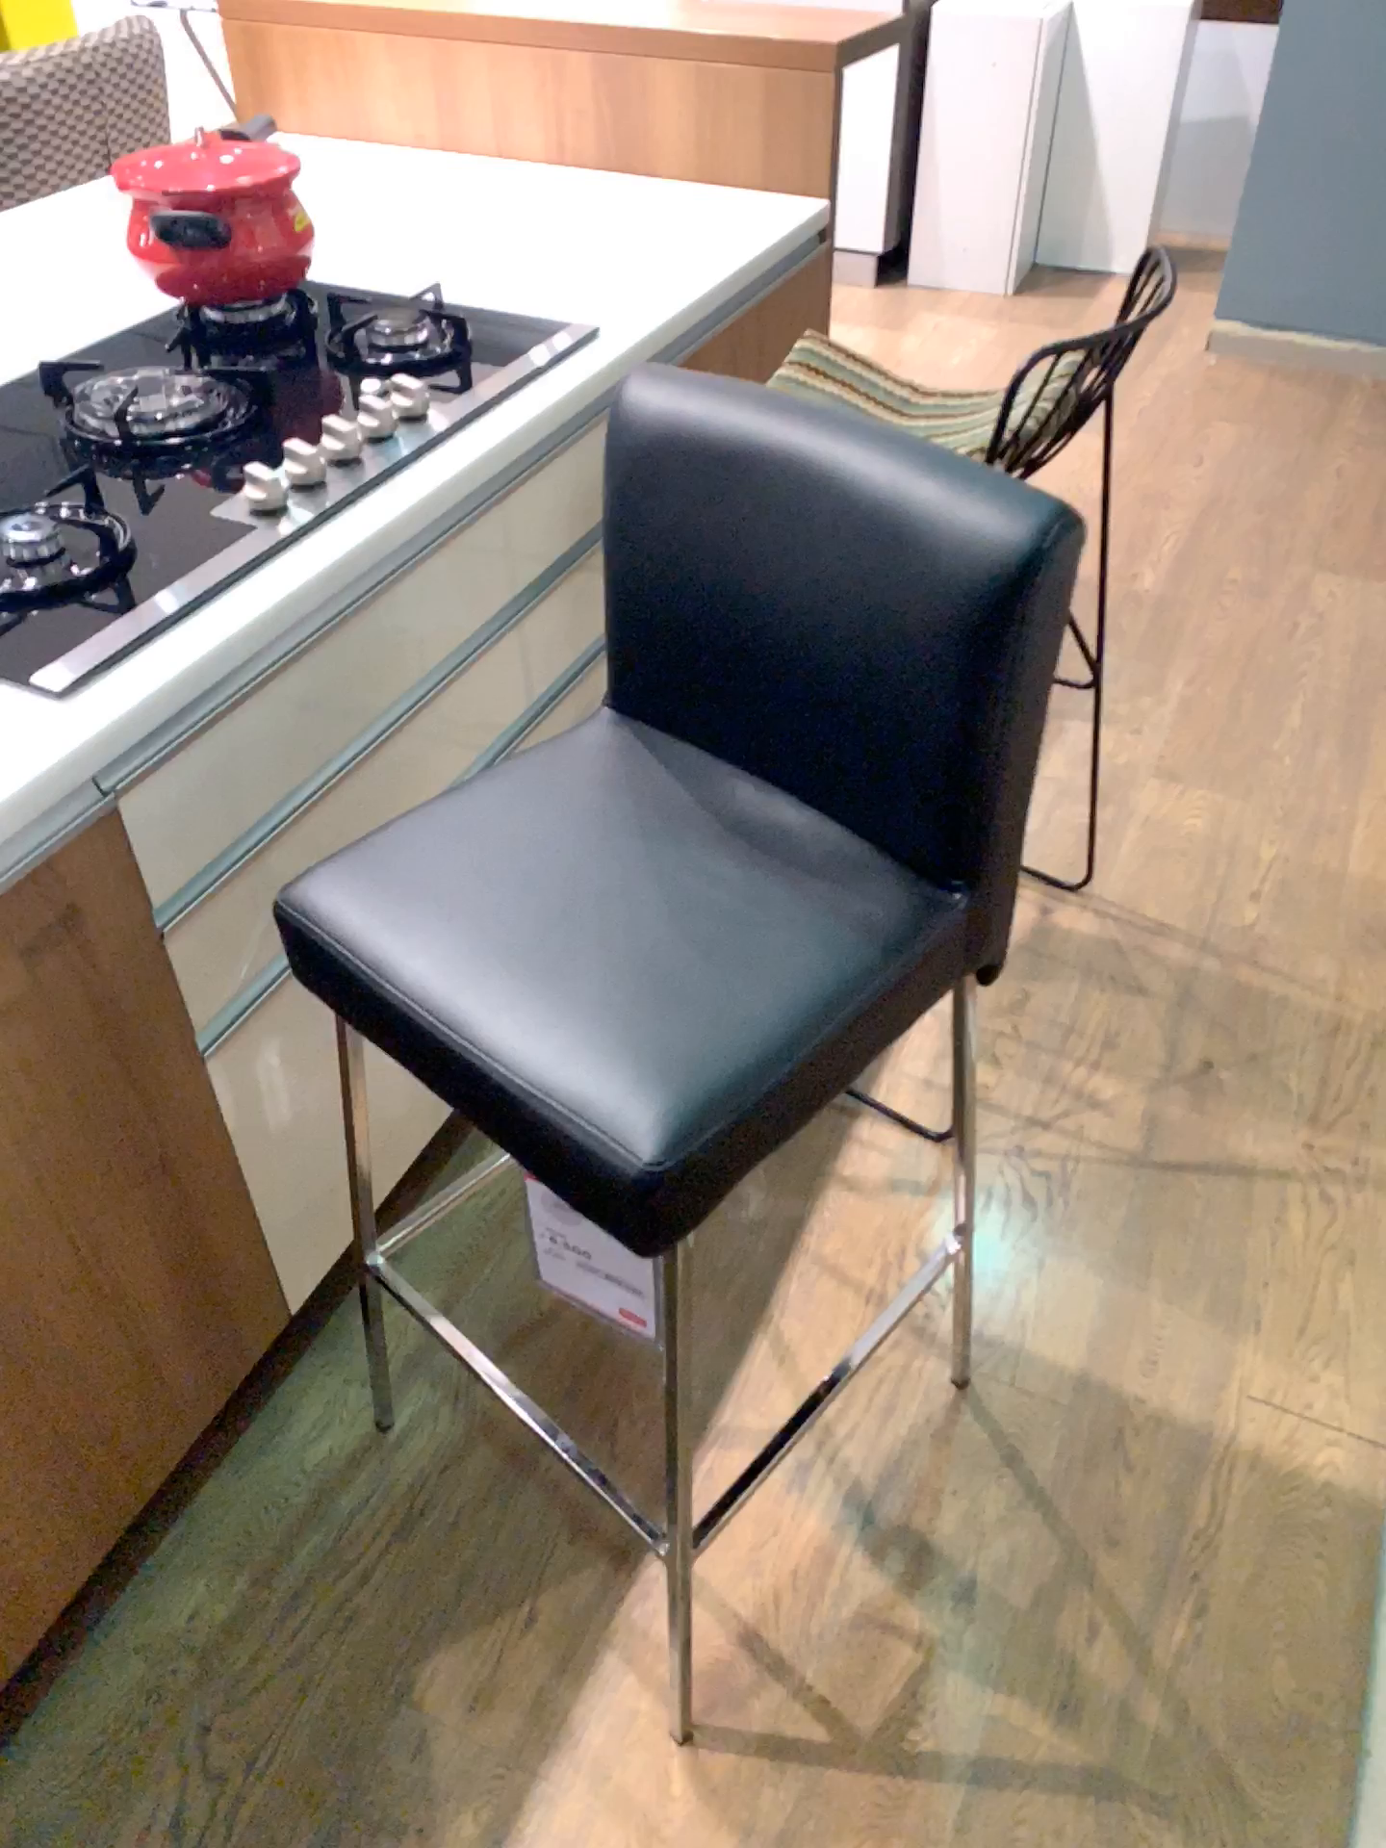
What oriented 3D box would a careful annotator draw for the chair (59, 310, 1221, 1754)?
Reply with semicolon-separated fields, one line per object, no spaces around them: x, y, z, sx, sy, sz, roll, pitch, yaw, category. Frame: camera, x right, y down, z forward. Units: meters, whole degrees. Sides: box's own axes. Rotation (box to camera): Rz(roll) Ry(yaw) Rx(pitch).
-0.021;0.125;1.205;0.501;1.026;0.521;30;49;30;chair
